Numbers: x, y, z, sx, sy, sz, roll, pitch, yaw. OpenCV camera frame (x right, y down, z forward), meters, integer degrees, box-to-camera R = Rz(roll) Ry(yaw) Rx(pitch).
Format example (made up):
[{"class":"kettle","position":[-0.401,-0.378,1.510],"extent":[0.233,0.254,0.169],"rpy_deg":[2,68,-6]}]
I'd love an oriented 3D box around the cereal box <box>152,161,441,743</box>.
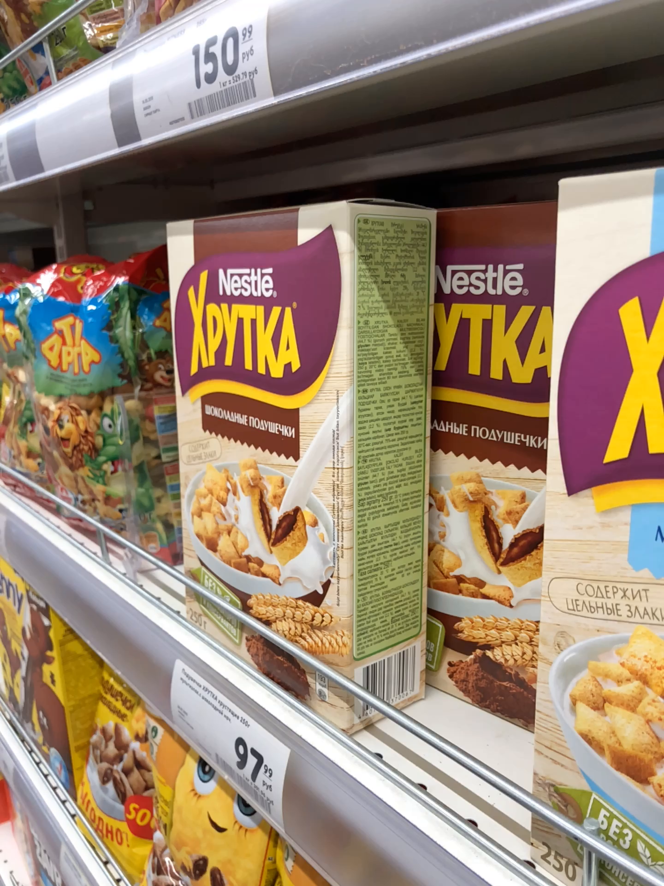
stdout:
[{"class":"cereal box","position":[-0.026,-0.004,0.346],"extent":[0.040,0.219,0.160],"rpy_deg":[-9,15,-38]}]
